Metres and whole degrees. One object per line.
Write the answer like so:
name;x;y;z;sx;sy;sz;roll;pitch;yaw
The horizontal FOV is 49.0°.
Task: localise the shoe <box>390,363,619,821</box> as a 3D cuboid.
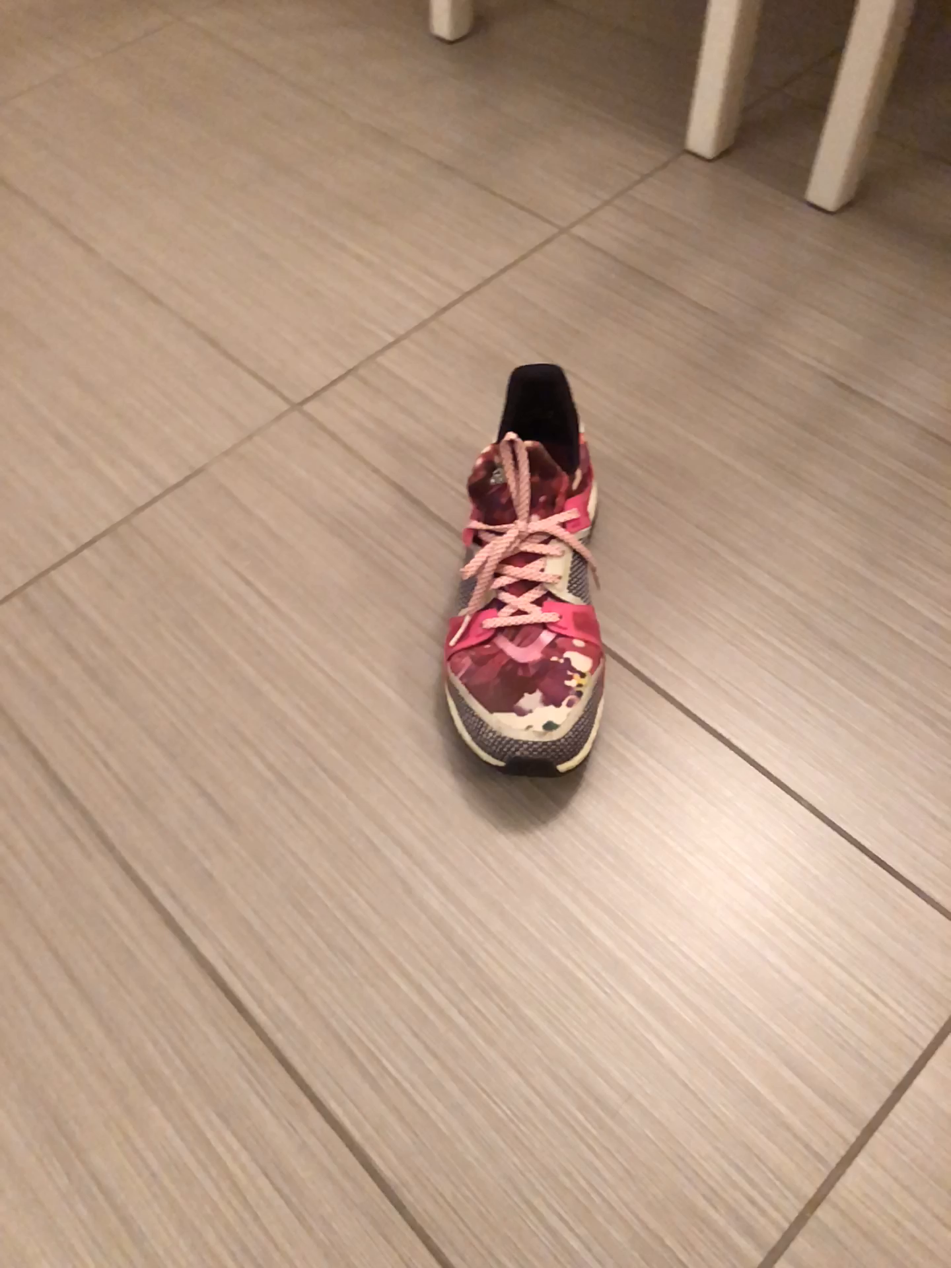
shoe;0.028;-0.037;0.639;0.110;0.090;0.281;2;55;6
